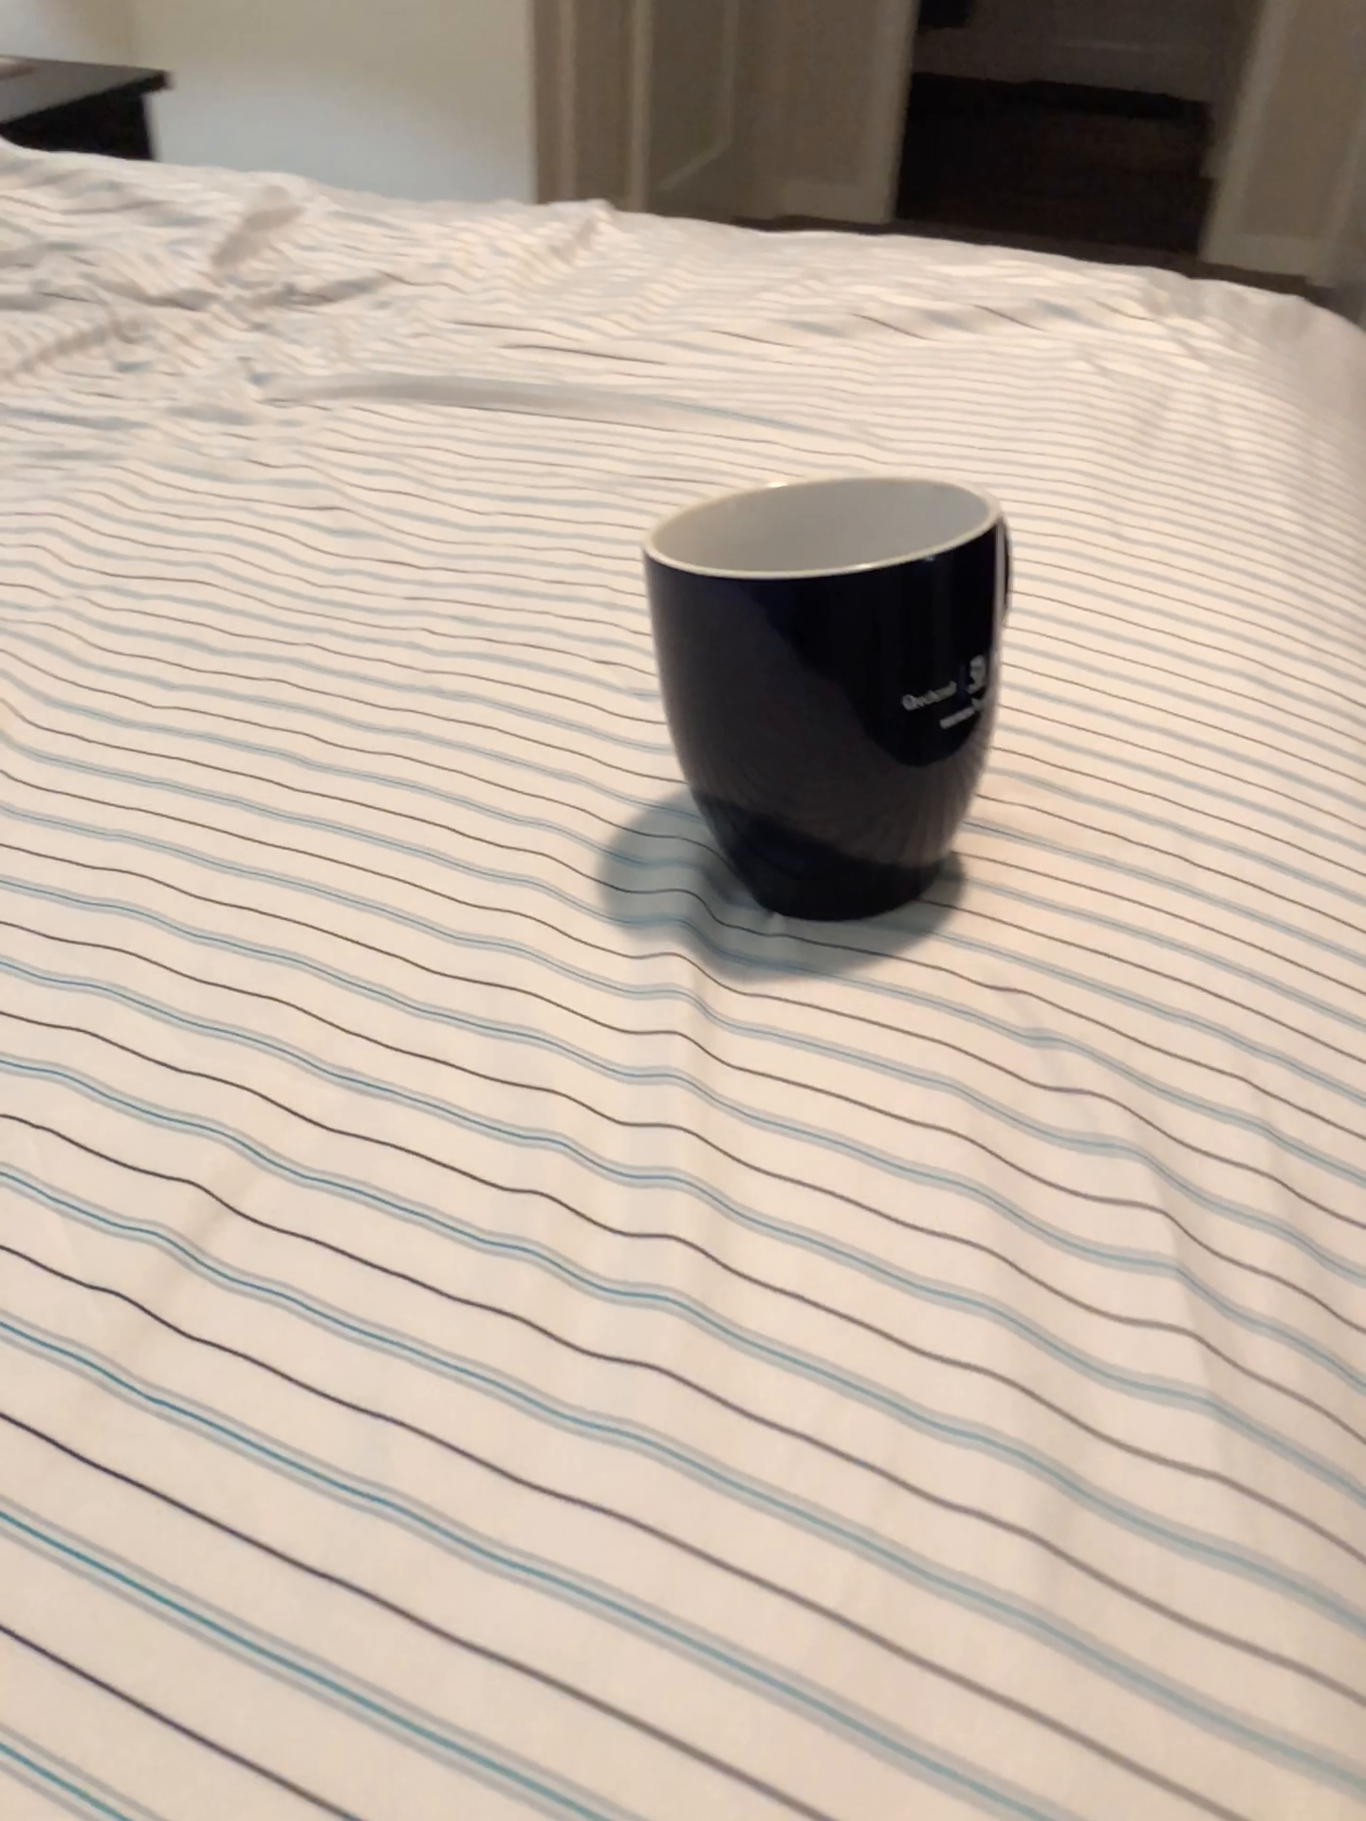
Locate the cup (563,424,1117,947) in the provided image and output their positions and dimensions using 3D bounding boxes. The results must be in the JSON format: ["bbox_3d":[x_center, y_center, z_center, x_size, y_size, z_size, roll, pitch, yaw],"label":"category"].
[{"bbox_3d":[0.048,-0.071,0.428,0.090,0.090,0.130,20,39,35],"label":"cup"}]
